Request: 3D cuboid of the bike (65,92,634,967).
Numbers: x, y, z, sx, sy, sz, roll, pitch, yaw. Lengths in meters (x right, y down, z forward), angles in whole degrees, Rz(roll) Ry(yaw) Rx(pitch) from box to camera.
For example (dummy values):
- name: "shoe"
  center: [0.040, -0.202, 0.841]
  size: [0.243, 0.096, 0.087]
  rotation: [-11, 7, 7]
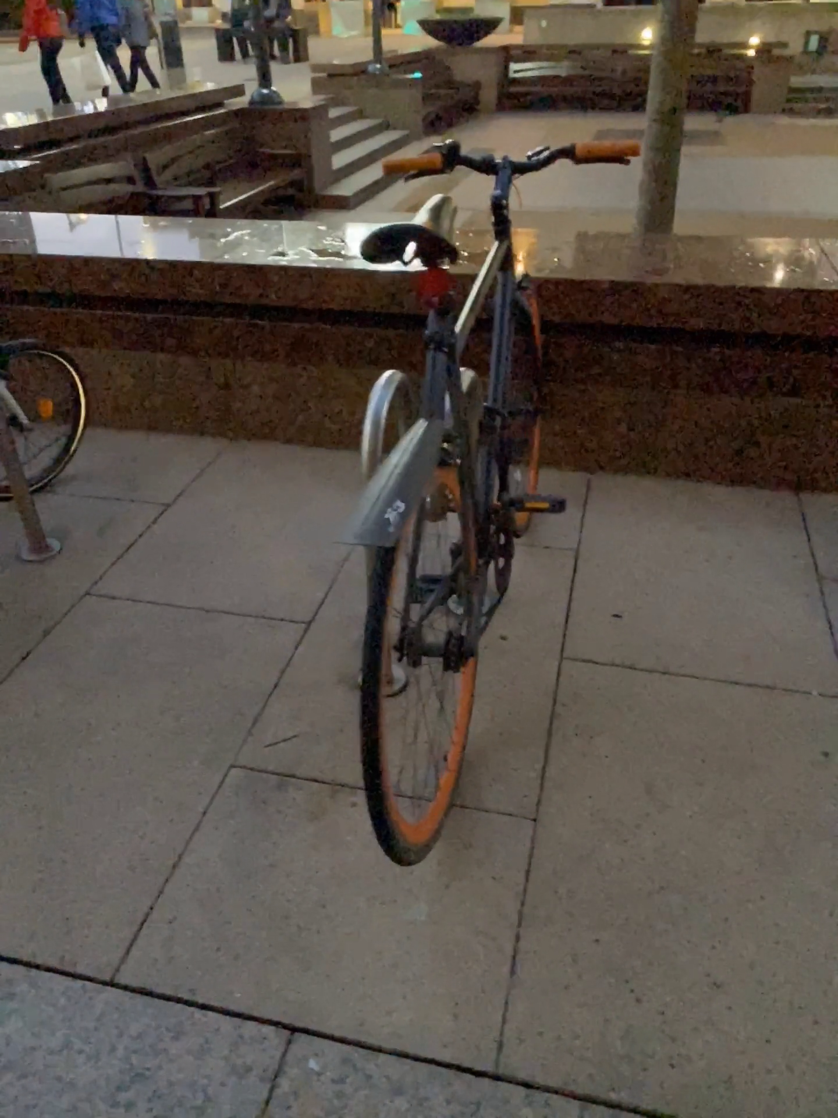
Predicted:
- name: "bike"
  center: [0.089, -0.292, 1.744]
  size: [0.524, 0.981, 1.648]
  rotation: [6, 35, 13]
